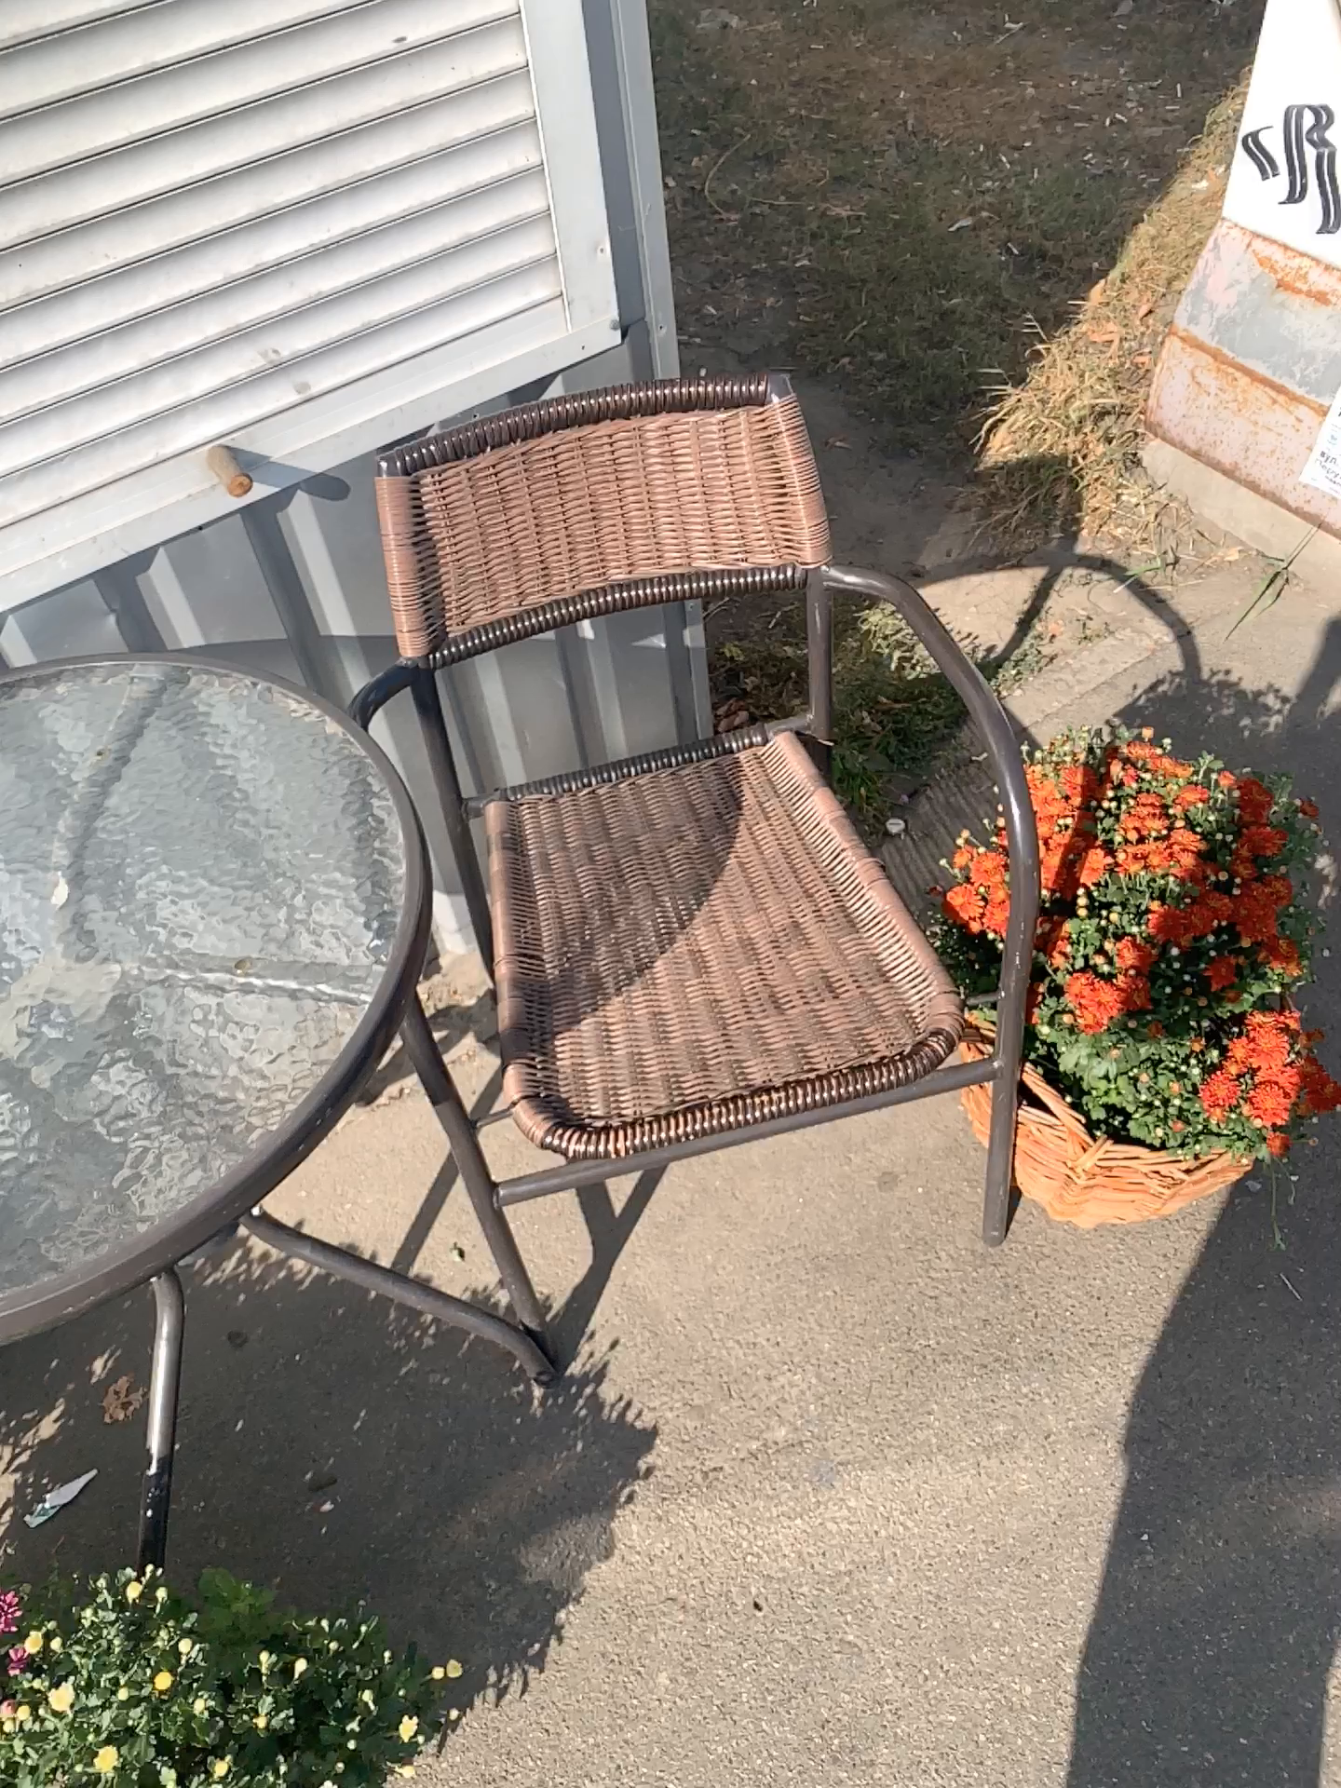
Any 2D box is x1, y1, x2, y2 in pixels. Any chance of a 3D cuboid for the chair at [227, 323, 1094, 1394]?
[{"bbox_3d":[-0.037,-0.030,1.420,0.570,0.717,0.693,-15,50,-6],"label":"chair"}]
